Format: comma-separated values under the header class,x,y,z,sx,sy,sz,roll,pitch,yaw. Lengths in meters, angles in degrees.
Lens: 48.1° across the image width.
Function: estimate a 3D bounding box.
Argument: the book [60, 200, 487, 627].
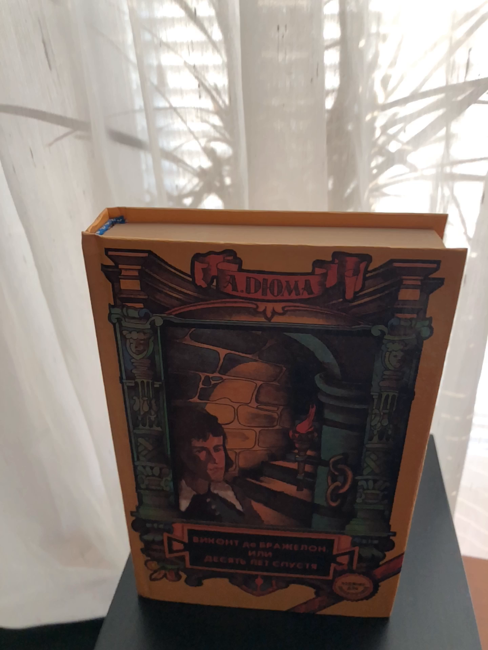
class,x,y,z,sx,sy,sz,roll,pitch,yaw
book,0.012,0.051,0.255,0.142,0.209,0.045,2,31,6
